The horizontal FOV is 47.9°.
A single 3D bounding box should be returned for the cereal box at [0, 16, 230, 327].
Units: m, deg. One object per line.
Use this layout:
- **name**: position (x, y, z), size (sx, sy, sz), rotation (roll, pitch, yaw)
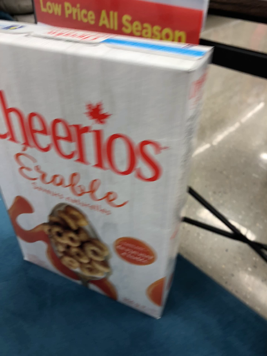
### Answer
- **cereal box**: position (-0.047, 0.008, 0.292), size (0.210, 0.269, 0.060), rotation (16, 41, 18)
